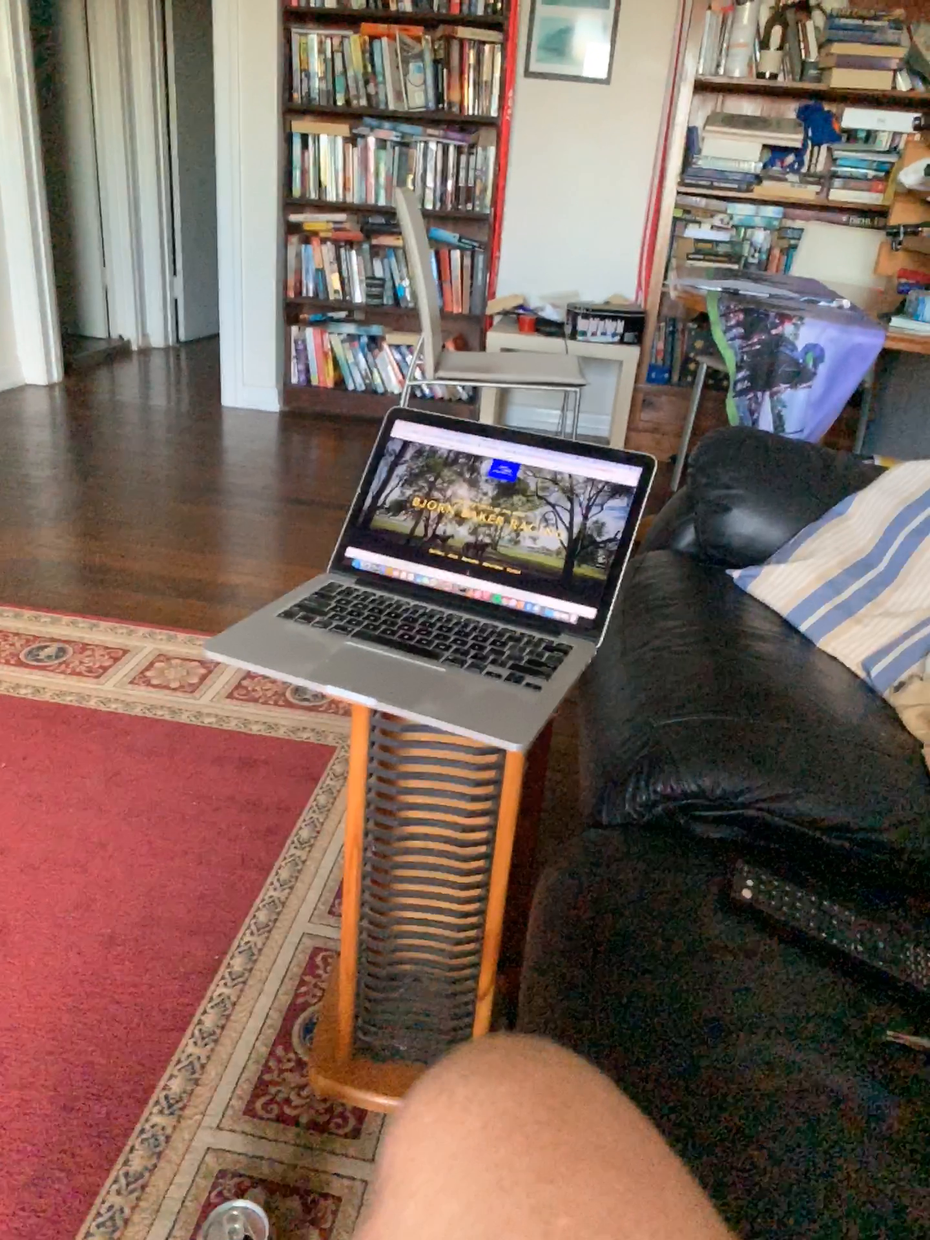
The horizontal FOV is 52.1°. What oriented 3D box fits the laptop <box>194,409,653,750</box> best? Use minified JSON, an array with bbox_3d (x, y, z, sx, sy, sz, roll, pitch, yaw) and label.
[{"bbox_3d":[-0.023,-0.069,0.910,0.312,0.161,0.341,15,25,20],"label":"laptop"}]
